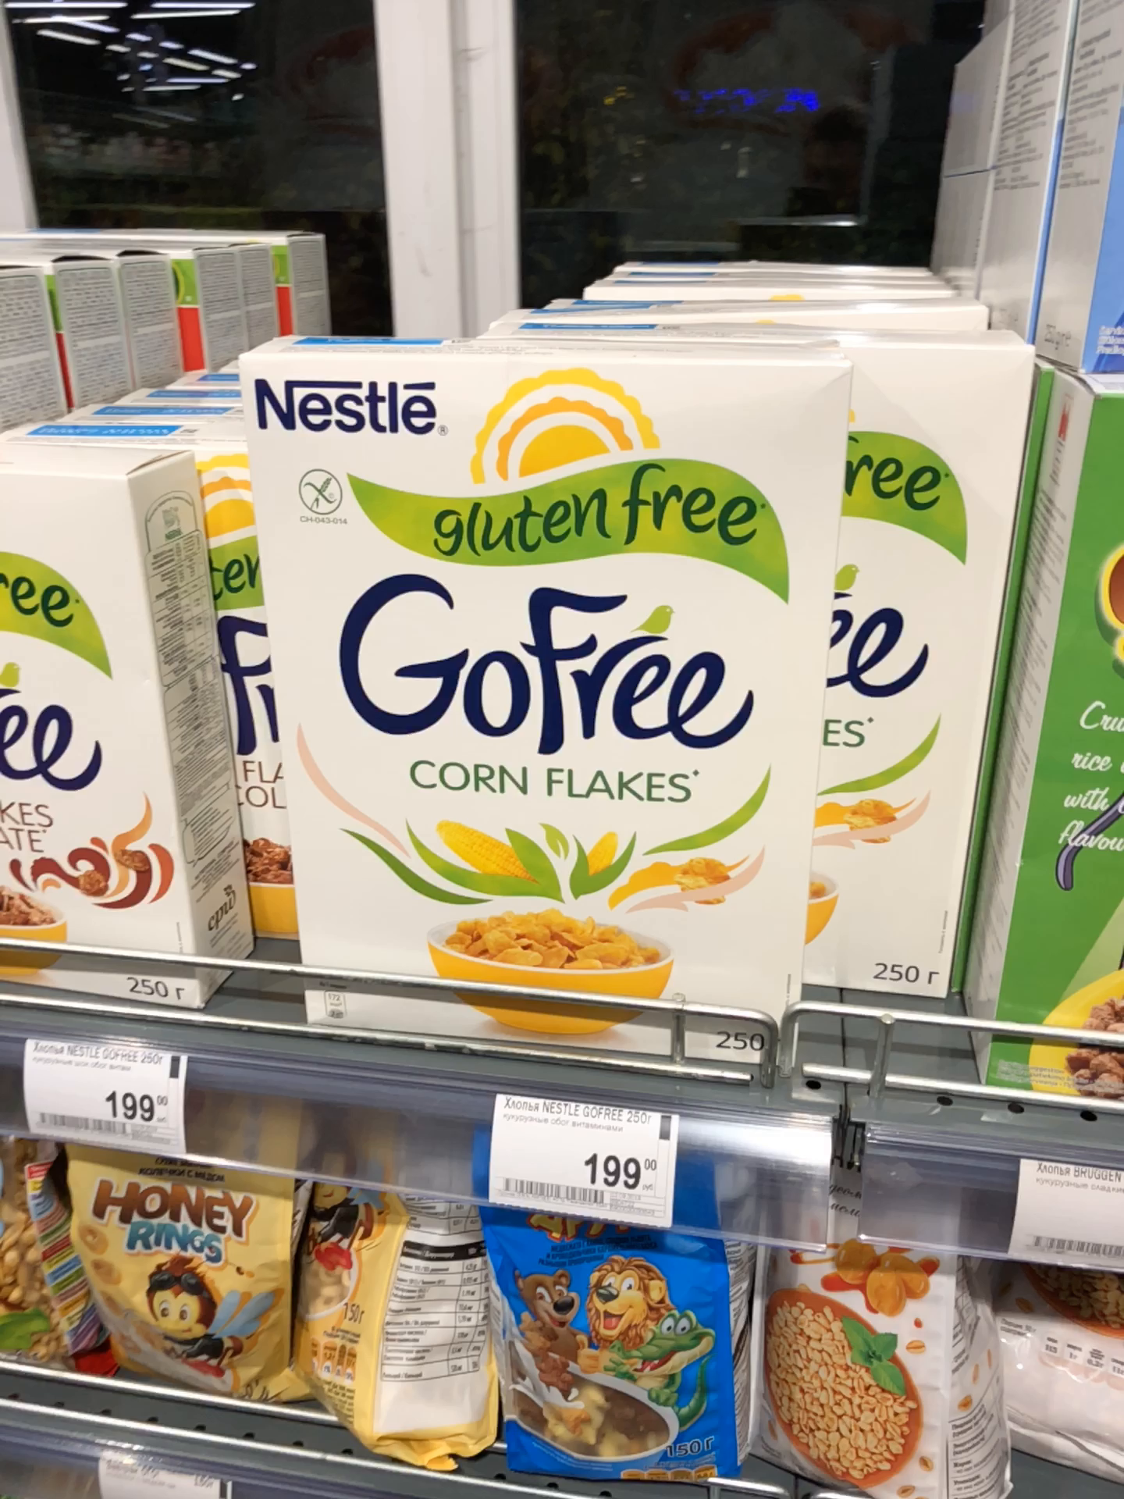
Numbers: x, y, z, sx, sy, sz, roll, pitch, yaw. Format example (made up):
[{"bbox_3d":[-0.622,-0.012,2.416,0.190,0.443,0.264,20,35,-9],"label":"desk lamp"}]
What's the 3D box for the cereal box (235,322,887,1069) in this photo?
[{"bbox_3d":[0.002,-0.016,0.433,0.190,0.249,0.060,3,24,7],"label":"cereal box"}]
